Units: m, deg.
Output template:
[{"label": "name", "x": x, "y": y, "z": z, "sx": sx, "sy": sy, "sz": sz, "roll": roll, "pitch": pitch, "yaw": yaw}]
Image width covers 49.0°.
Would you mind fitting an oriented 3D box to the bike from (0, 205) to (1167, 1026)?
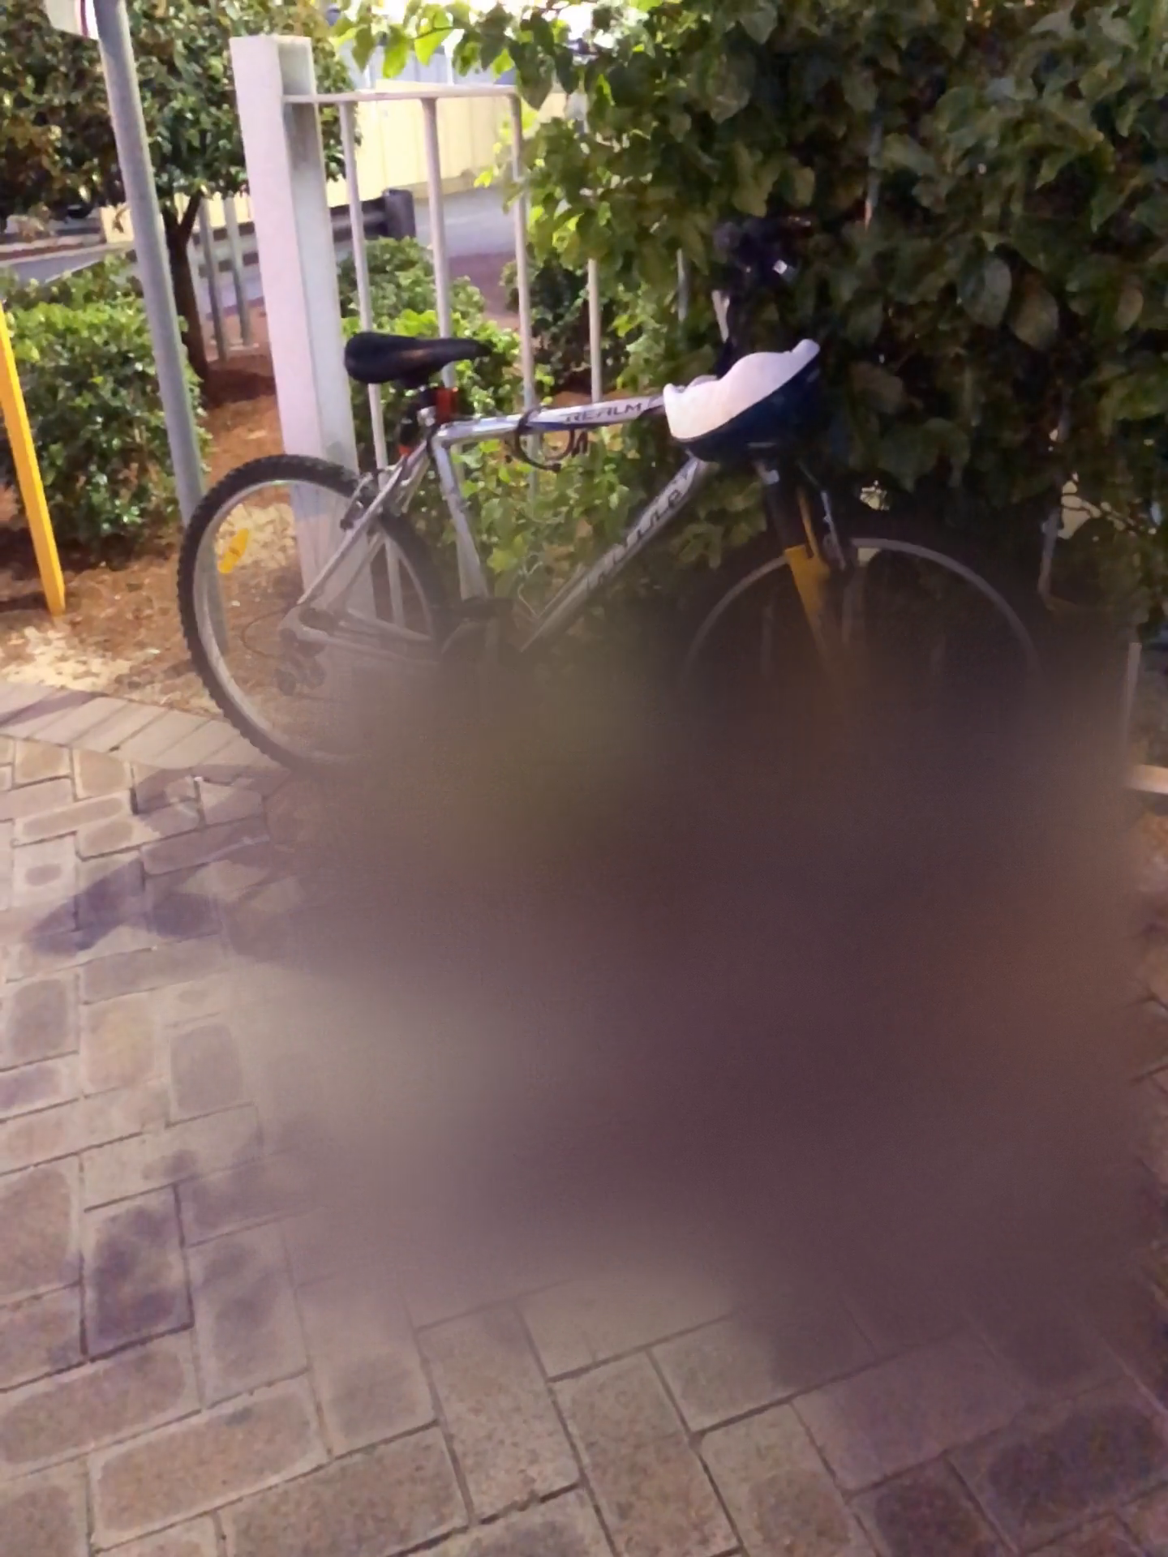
[{"label": "bike", "x": -0.046, "y": -0.367, "z": 2.102, "sx": 1.694, "sy": 0.995, "sz": 0.554, "roll": 10, "pitch": 29, "yaw": 24}]
